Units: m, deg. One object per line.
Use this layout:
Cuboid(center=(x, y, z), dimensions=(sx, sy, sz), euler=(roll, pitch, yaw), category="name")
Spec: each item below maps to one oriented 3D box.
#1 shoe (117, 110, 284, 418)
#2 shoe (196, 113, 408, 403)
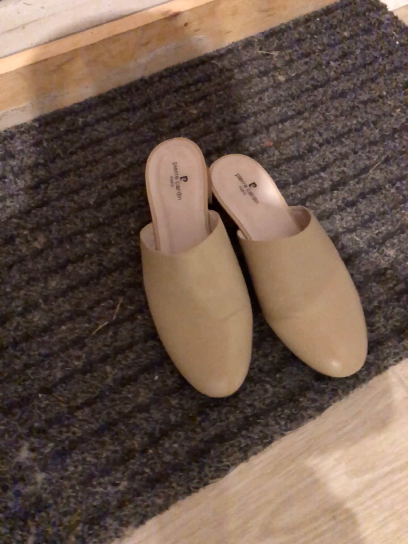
Cuboid(center=(-0.013, -0.017, 0.385), dimensions=(0.090, 0.070, 0.251), euler=(-9, 62, -4), category="shoe")
Cuboid(center=(0.082, -0.023, 0.412), dimensions=(0.090, 0.070, 0.251), euler=(-20, 64, -10), category="shoe")
